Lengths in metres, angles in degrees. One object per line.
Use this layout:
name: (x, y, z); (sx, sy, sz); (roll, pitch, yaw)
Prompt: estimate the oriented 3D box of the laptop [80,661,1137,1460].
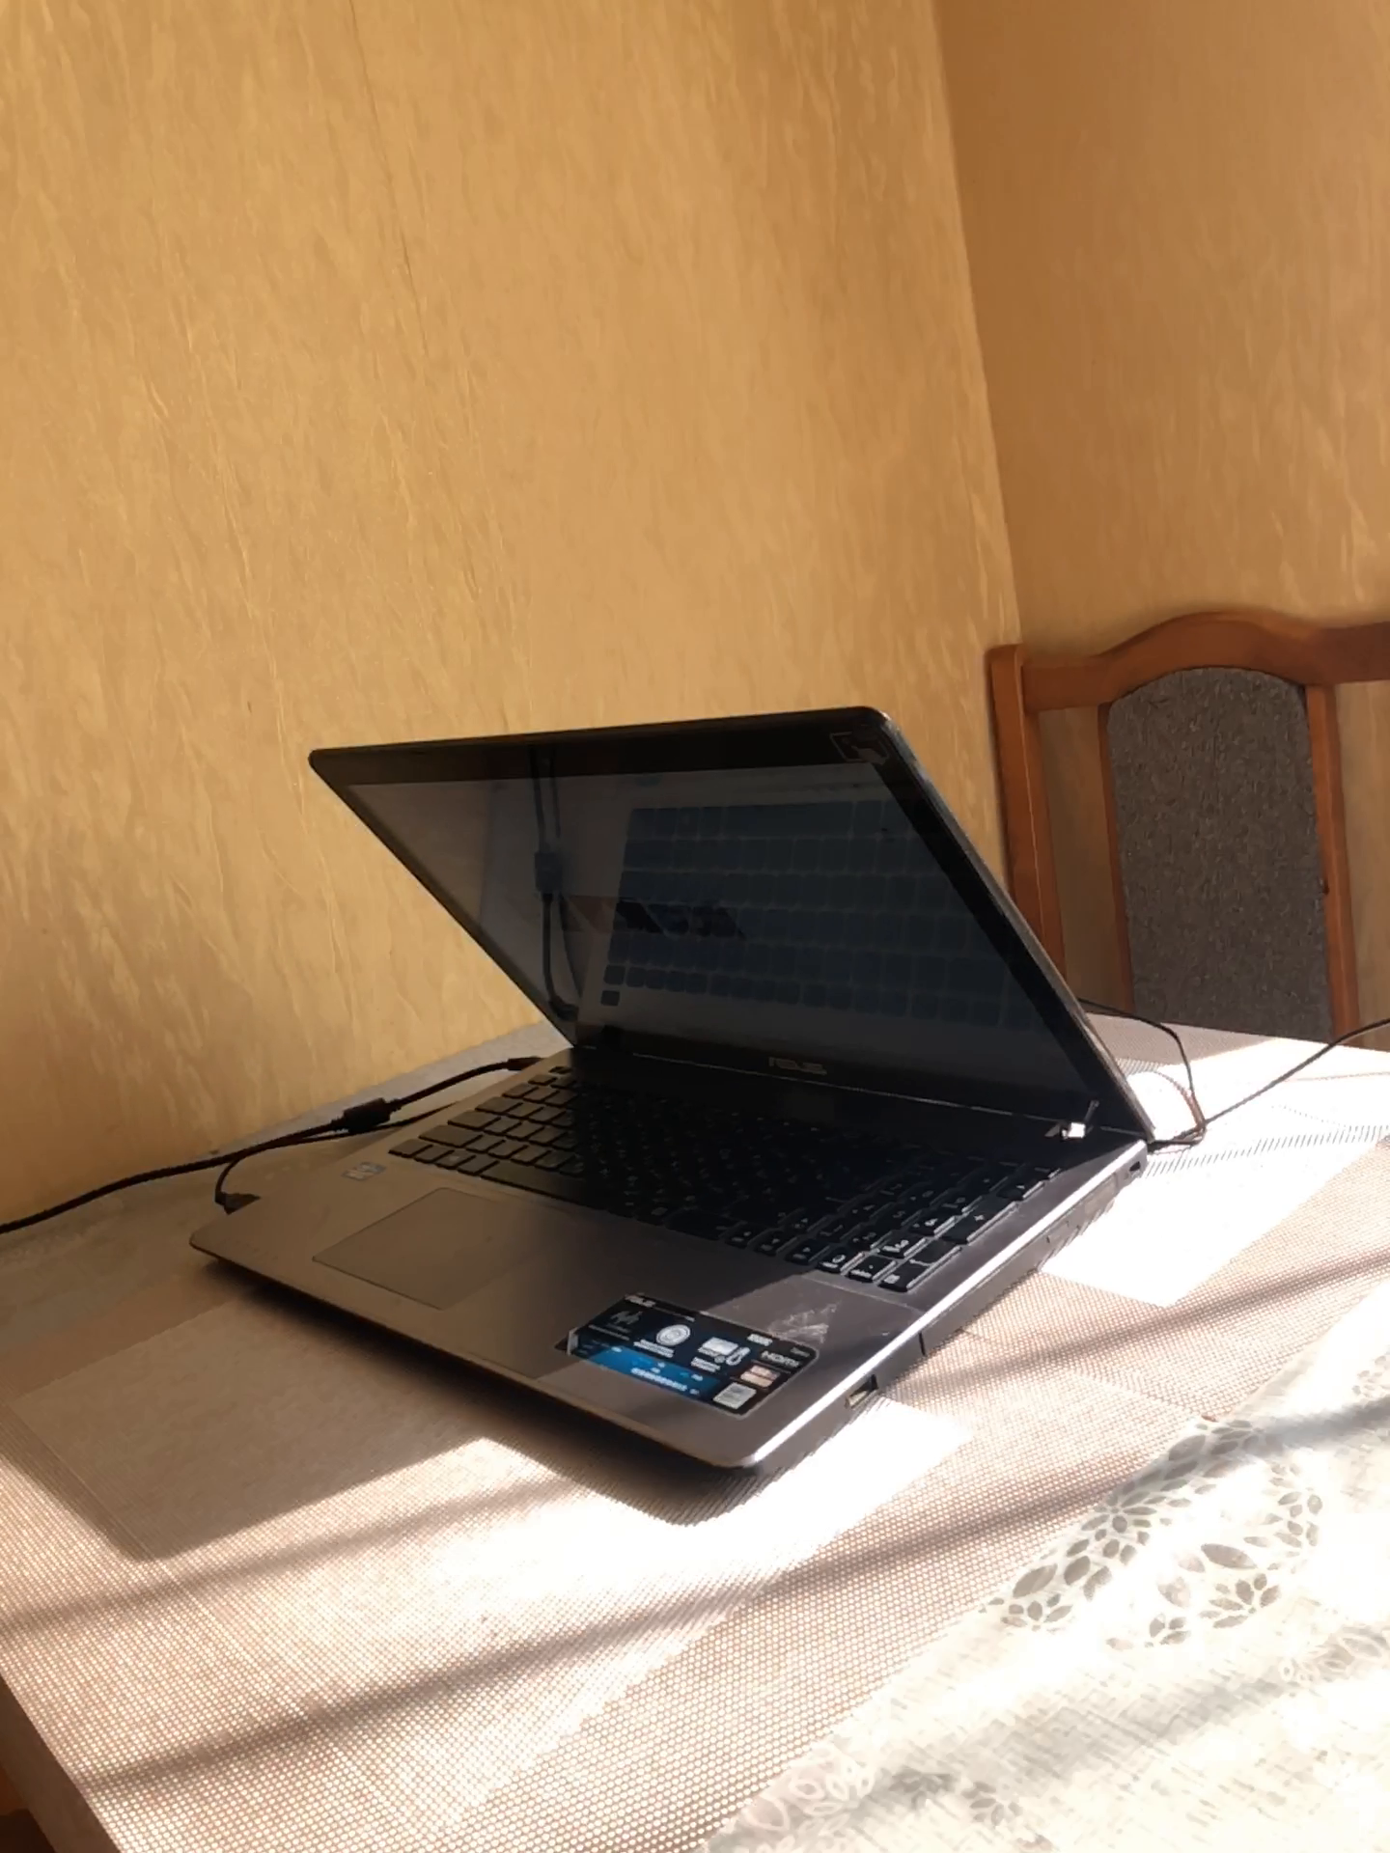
laptop: (-0.050, 0.023, 0.655); (0.243, 0.197, 0.370); (-23, 18, -40)
